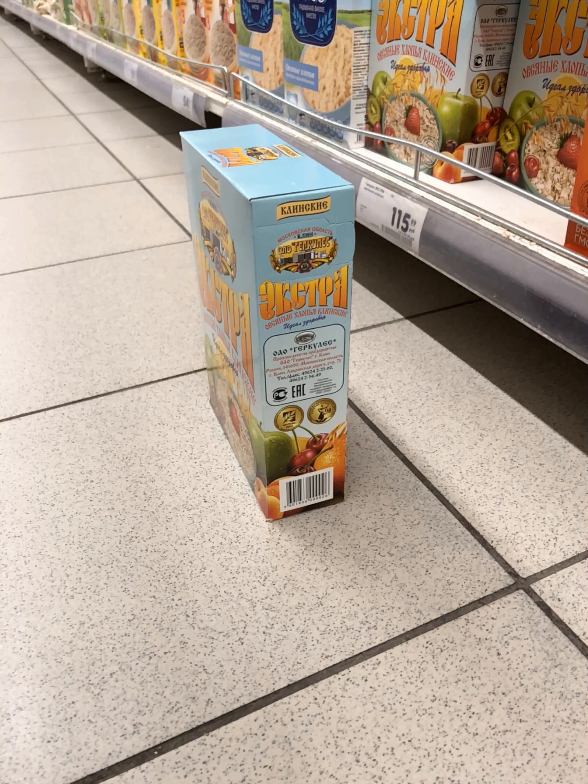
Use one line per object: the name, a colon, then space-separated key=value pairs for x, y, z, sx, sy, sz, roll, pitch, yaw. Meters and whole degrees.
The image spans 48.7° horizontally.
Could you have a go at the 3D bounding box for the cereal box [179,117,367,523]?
cereal box: x=-0.017 y=-0.049 z=0.420 sx=0.060 sy=0.209 sz=0.151 roll=-12 pitch=35 yaw=-16
